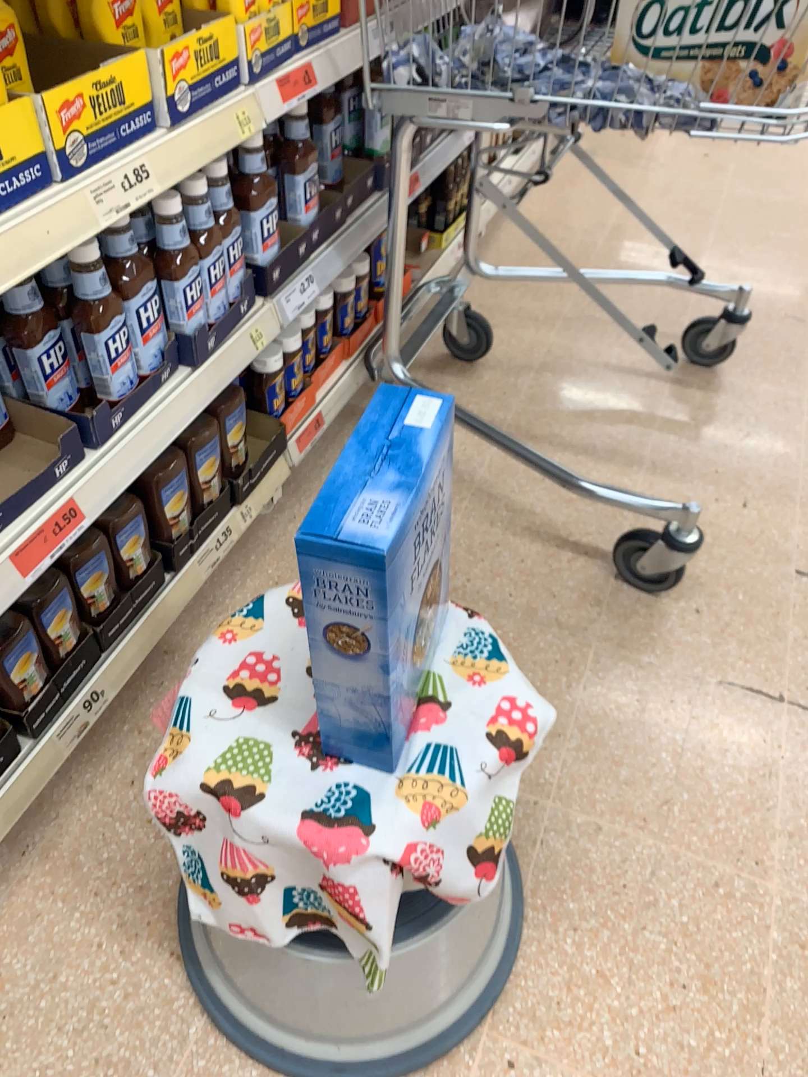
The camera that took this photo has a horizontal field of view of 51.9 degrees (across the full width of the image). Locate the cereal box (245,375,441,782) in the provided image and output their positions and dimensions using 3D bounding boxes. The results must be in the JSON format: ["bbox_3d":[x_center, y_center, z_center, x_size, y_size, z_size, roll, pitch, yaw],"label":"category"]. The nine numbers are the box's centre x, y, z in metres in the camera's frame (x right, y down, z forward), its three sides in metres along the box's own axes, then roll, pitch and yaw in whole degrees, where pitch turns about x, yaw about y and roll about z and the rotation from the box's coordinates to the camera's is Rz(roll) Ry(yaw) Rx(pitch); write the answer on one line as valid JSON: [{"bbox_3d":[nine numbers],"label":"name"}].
[{"bbox_3d":[-0.036,0.035,0.696,0.080,0.258,0.212,11,44,11],"label":"cereal box"}]
